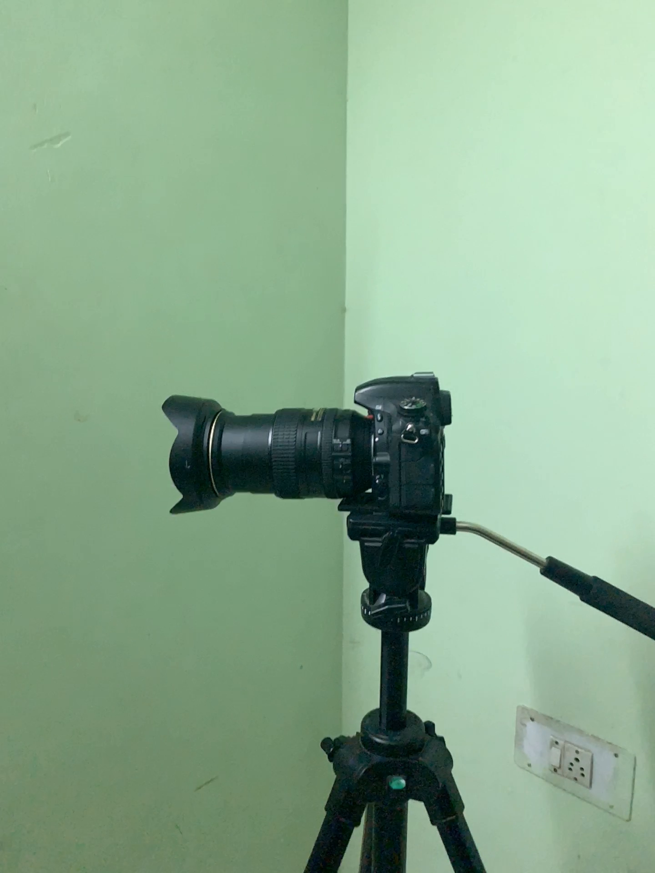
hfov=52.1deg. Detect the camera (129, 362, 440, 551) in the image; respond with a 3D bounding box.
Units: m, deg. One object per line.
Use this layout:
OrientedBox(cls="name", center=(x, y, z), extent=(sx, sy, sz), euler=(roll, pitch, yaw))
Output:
OrientedBox(cls="camera", center=(-0.025, 0.006, 0.616), extent=(0.250, 0.132, 0.164), euler=(2, 11, 9))
